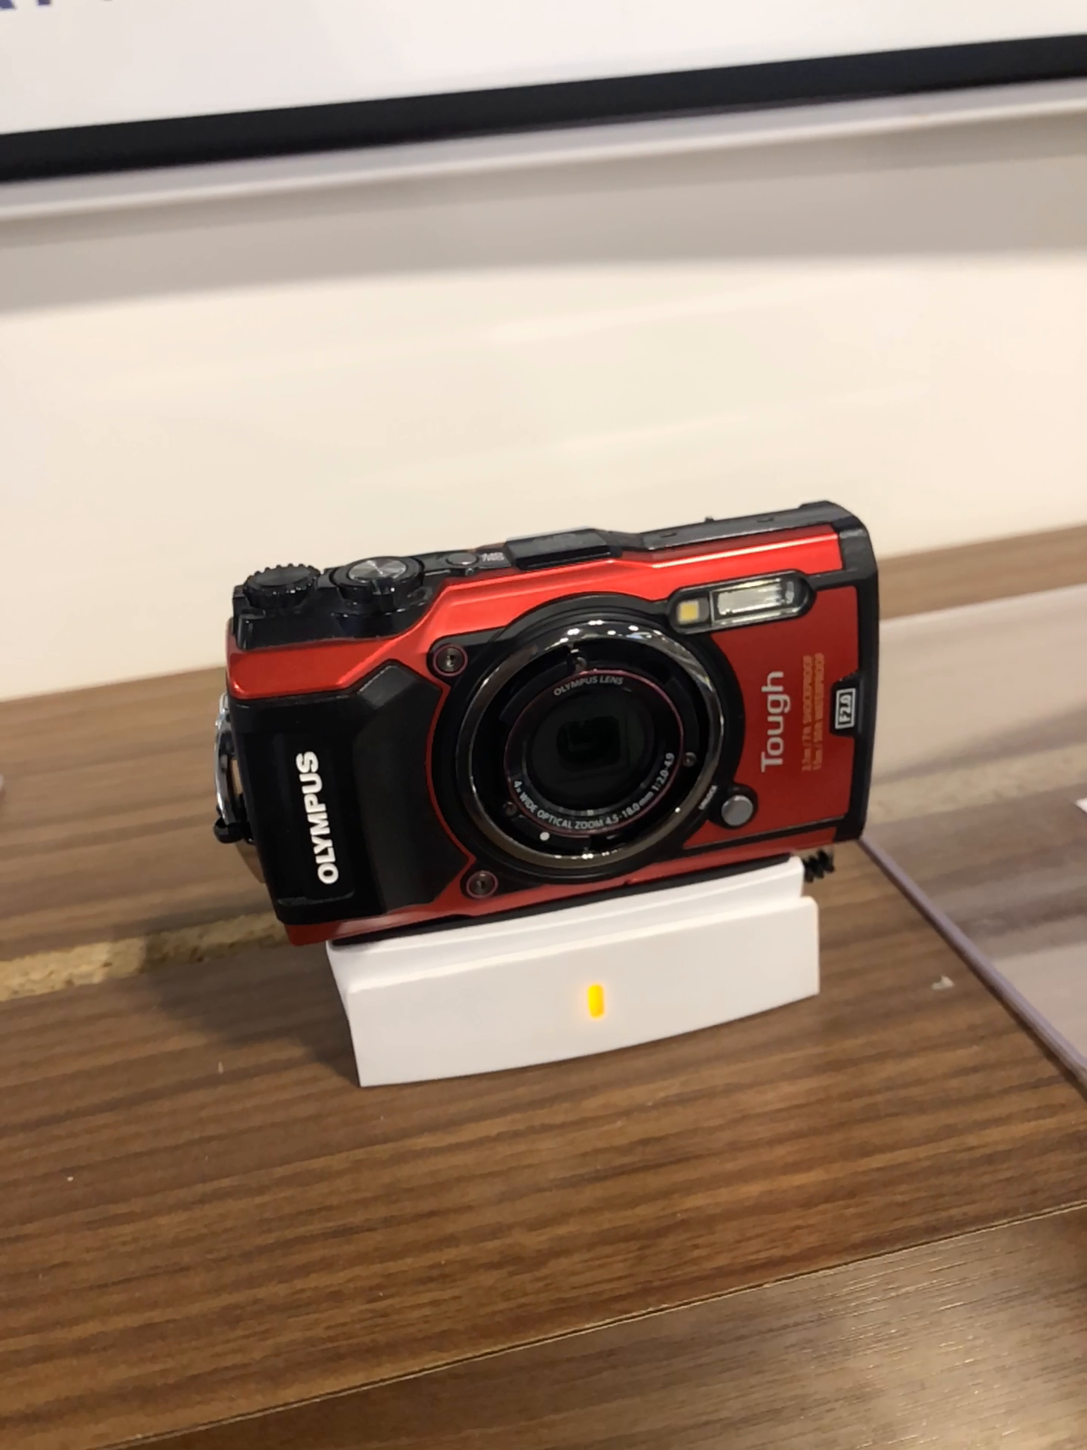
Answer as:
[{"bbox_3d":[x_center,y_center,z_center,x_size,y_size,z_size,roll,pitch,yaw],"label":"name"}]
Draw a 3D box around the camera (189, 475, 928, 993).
[{"bbox_3d":[0.005,0.000,0.221,0.120,0.070,0.030,-9,24,-7],"label":"camera"}]
